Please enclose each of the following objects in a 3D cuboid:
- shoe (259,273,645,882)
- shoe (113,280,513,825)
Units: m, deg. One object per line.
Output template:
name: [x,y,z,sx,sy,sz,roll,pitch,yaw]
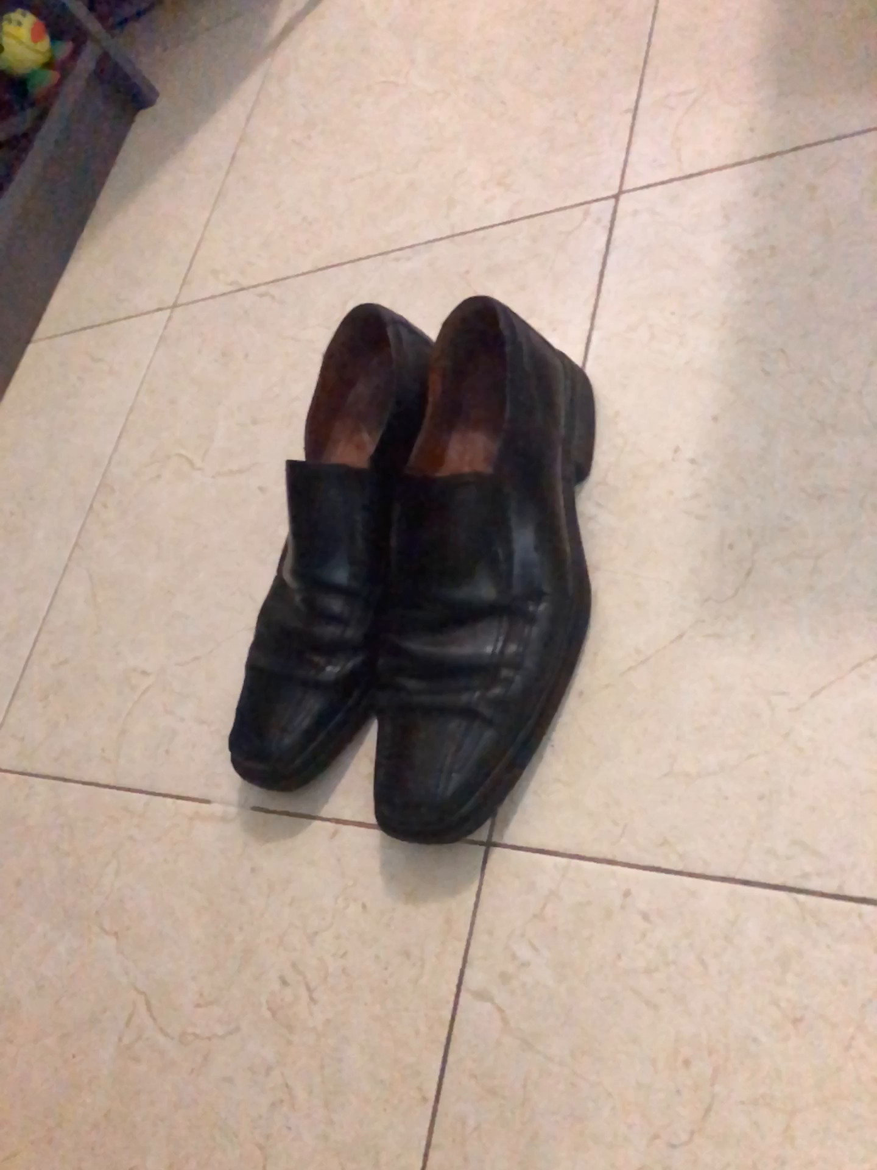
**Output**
shoe: [0.019,-0.011,0.538,0.120,0.090,0.310,-1,64,33]
shoe: [-0.067,-0.027,0.598,0.120,0.090,0.310,4,67,35]
